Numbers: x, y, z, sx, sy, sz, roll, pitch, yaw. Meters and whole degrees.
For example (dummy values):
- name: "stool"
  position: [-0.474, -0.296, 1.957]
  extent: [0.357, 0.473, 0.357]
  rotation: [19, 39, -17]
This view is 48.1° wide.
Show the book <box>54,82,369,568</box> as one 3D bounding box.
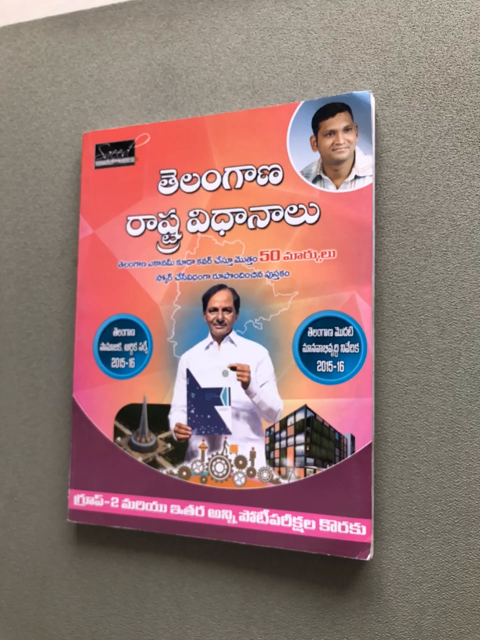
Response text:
- name: "book"
  position: [-0.018, 0.000, 0.317]
  extent: [0.180, 0.030, 0.250]
  rotation: [0, 85, 17]
